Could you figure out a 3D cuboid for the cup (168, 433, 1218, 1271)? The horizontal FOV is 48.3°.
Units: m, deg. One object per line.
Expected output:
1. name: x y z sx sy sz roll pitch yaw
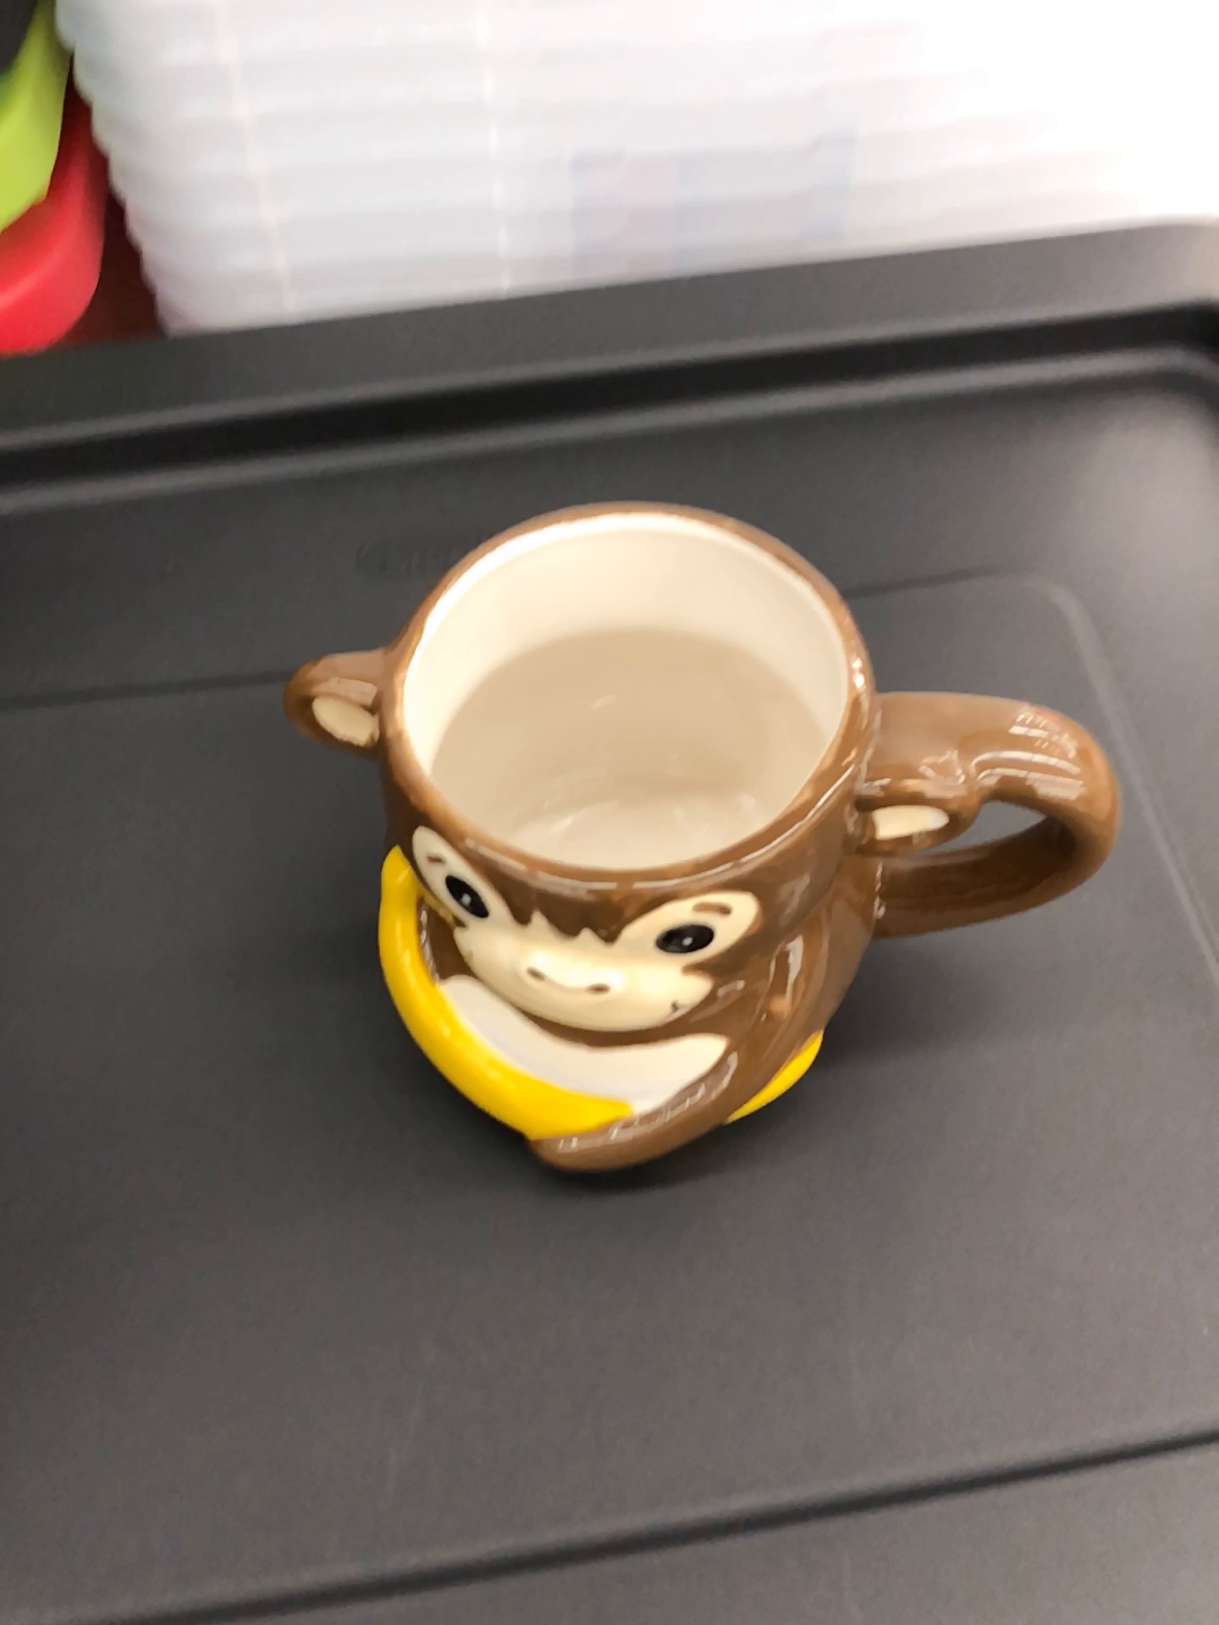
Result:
1. cup: 0.025 0.010 0.248 0.160 0.100 0.110 2 57 2
